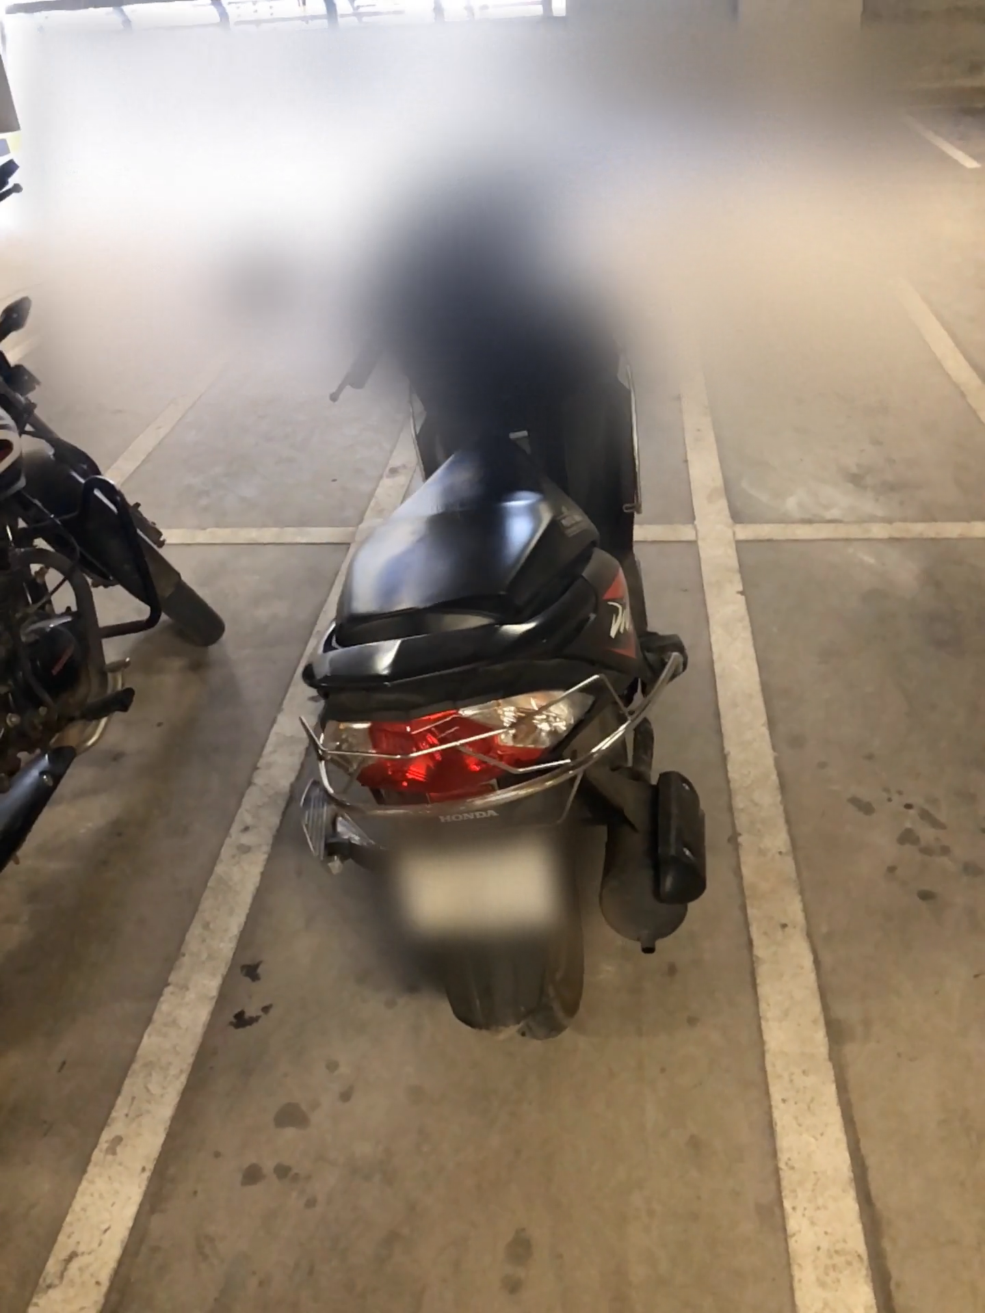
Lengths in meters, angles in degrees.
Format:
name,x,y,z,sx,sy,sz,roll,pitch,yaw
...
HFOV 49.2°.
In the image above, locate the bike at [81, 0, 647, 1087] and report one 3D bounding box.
name,x,y,z,sx,sy,sz,roll,pitch,yaw
bike,-0.067,-0.429,2.170,0.582,1.187,1.961,-2,38,4
